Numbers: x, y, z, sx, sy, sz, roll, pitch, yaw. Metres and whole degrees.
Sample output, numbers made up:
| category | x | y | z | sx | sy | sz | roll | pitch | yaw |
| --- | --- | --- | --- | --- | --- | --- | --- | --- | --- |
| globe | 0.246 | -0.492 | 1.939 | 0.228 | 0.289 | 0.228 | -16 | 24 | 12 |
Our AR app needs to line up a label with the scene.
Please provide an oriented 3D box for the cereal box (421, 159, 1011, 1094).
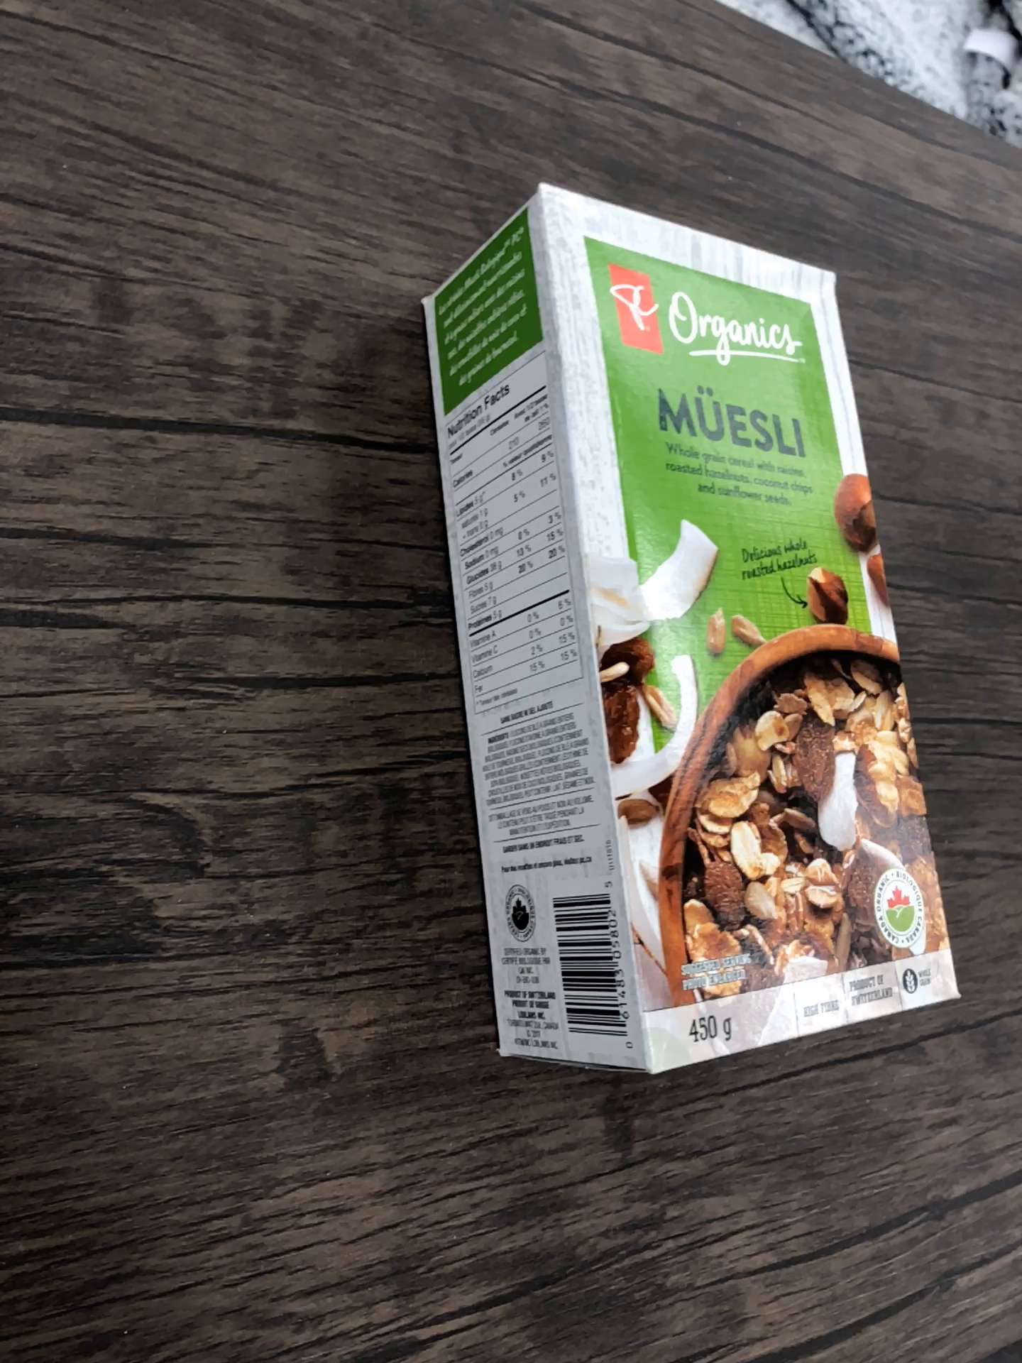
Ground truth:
| category | x | y | z | sx | sy | sz | roll | pitch | yaw |
| --- | --- | --- | --- | --- | --- | --- | --- | --- | --- |
| cereal box | 0.059 | -0.014 | 0.340 | 0.131 | 0.070 | 0.230 | -1 | 80 | -34 |
